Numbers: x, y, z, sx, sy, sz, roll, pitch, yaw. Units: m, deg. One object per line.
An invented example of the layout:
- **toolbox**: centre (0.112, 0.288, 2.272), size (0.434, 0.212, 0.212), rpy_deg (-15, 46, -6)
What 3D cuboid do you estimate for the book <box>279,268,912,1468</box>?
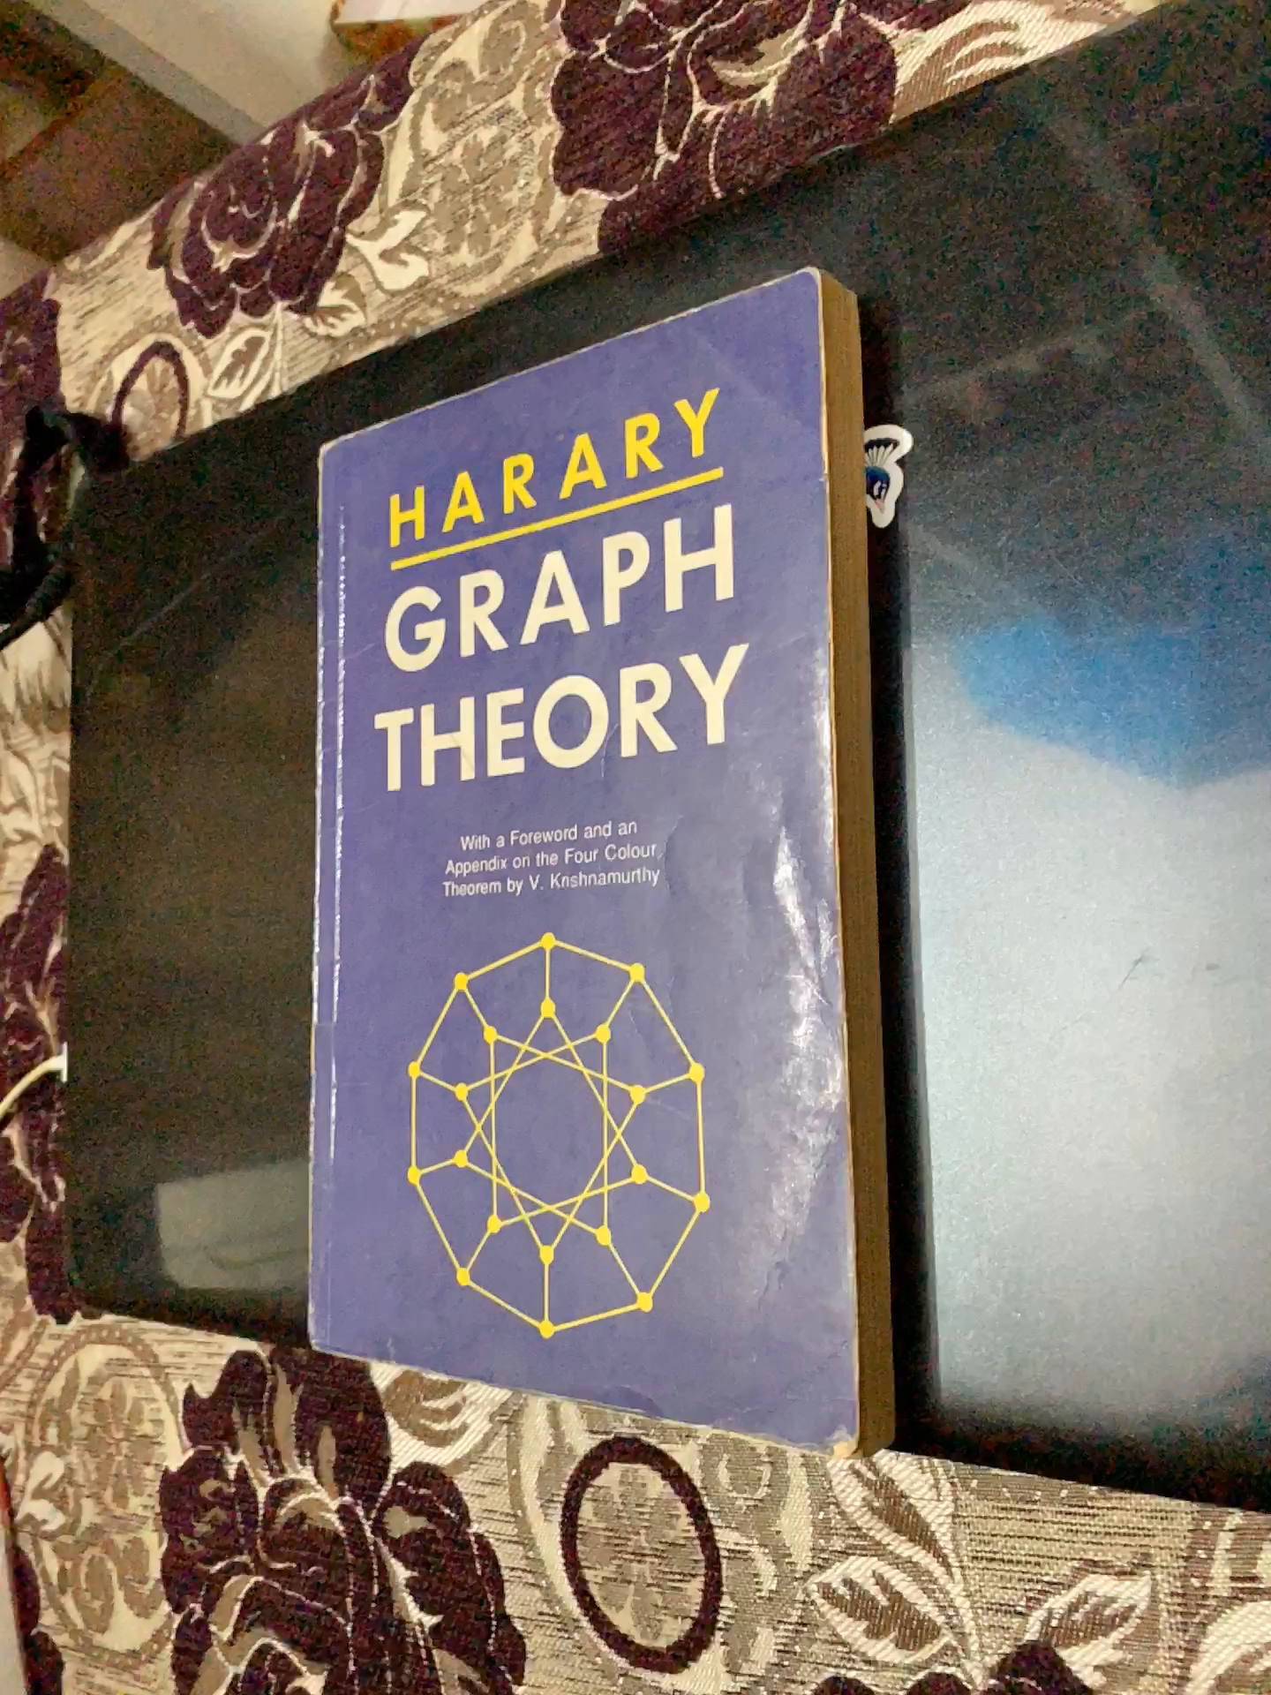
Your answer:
- **book**: centre (-0.016, 0.004, 0.268), size (0.141, 0.020, 0.200), rpy_deg (-5, 83, 36)
